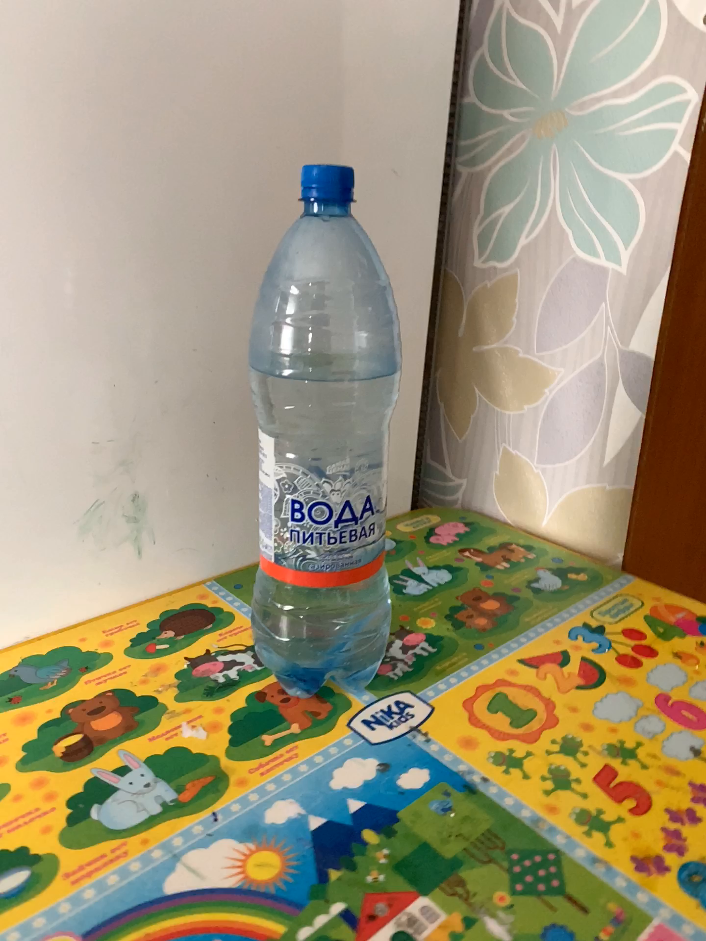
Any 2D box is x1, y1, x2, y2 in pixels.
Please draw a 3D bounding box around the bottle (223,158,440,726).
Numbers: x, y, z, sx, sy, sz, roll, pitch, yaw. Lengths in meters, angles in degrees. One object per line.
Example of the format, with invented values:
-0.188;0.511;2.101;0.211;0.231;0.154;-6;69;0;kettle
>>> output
-0.022;-0.015;0.447;0.100;0.318;0.101;2;19;-1;bottle
